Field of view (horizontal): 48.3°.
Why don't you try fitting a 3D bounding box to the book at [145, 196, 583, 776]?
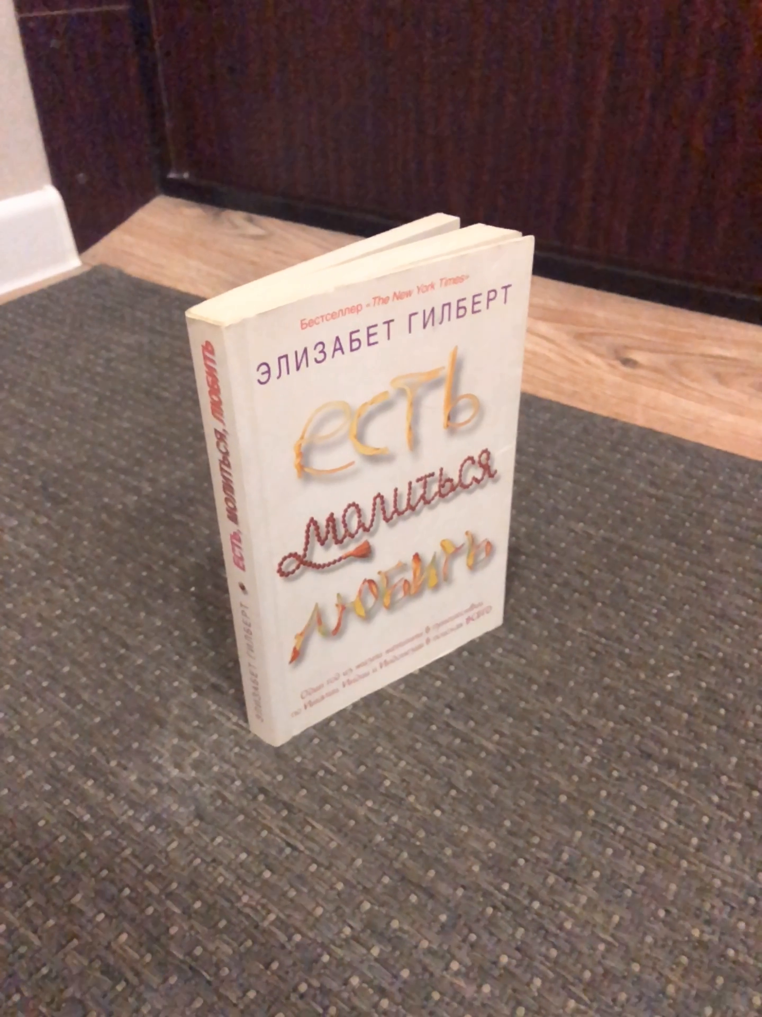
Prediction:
[{"bbox_3d":[-0.003,-0.010,0.387,0.161,0.213,0.068,-26,45,-32],"label":"book"}]
